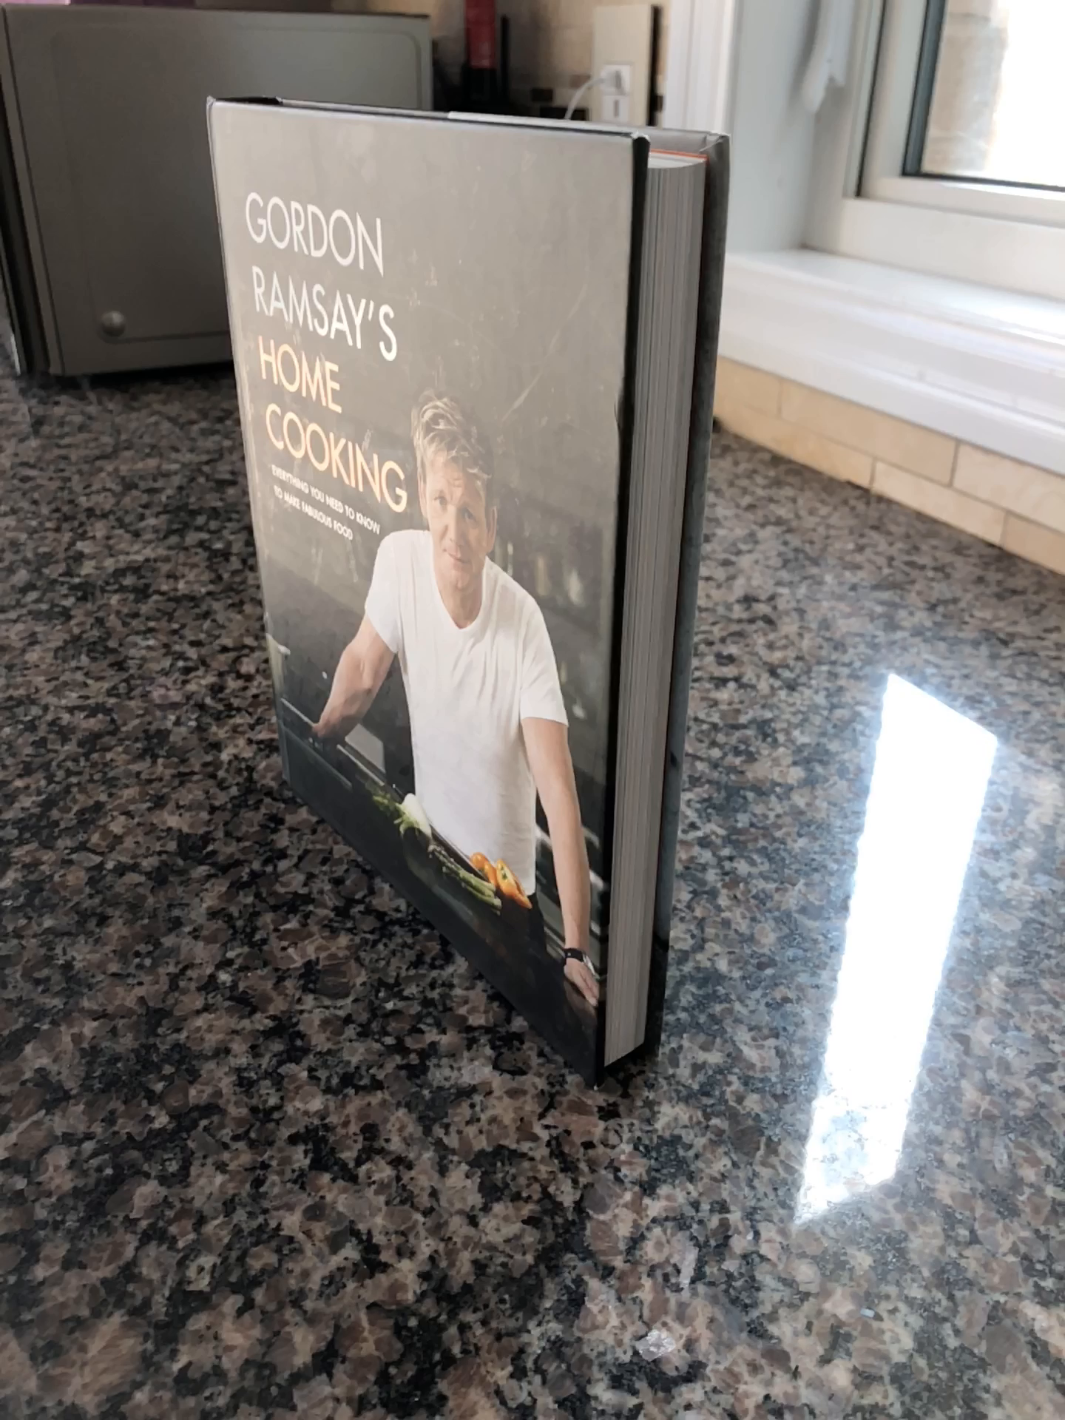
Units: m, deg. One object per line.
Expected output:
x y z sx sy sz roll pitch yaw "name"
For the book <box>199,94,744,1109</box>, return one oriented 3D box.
-0.034 -0.044 0.373 0.028 0.261 0.217 -18 34 -31 "book"
